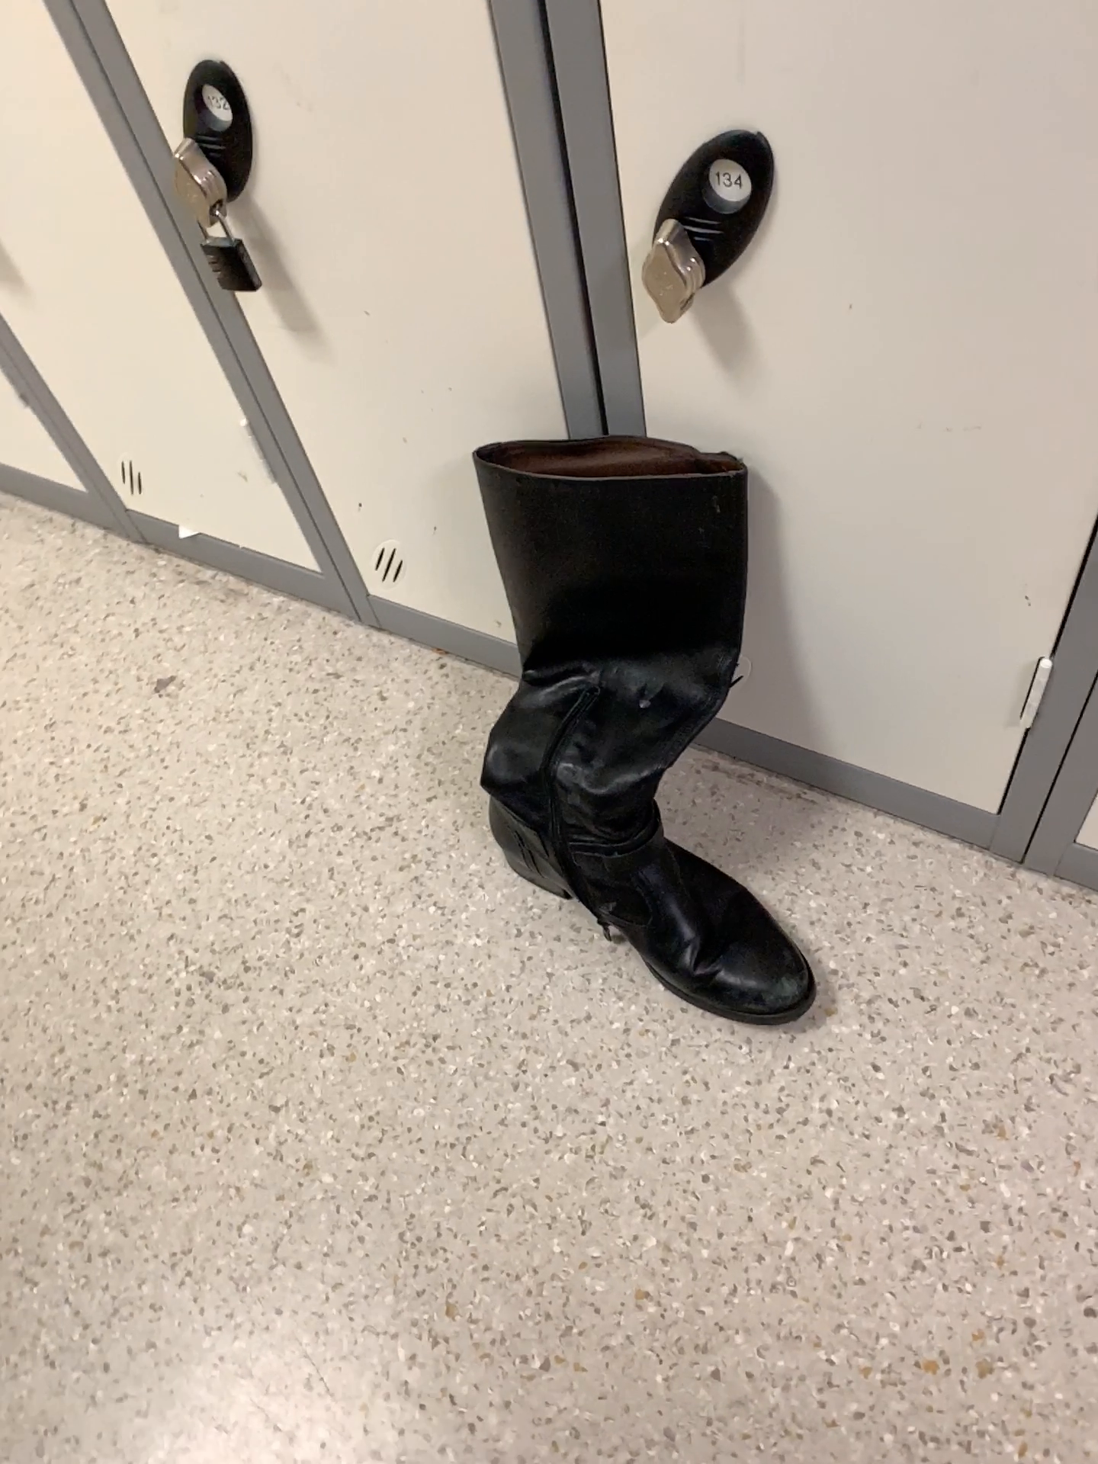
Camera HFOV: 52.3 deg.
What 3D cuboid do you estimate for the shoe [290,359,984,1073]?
[{"bbox_3d":[0.057,-0.002,0.698,0.315,0.331,0.168,29,64,28],"label":"shoe"}]
